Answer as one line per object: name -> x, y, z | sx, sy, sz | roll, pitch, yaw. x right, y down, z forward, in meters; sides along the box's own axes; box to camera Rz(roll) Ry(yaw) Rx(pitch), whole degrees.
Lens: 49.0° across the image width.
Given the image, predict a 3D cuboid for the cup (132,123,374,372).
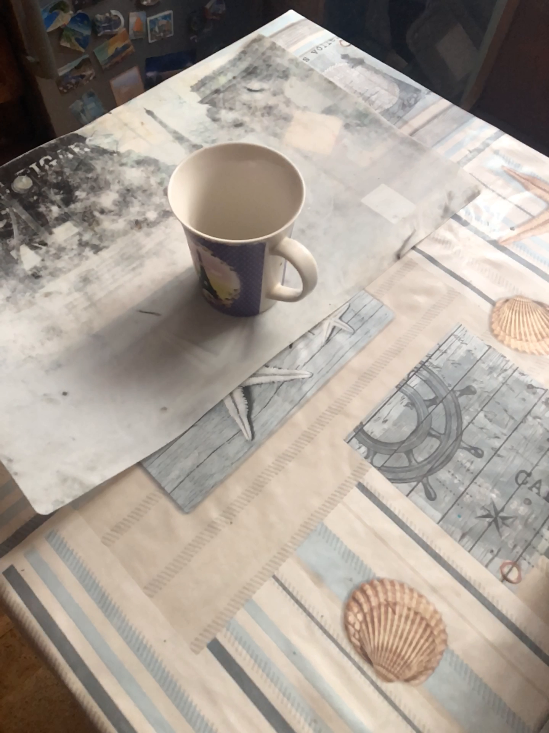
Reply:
cup -> -0.014, -0.081, 0.410 | 0.120, 0.085, 0.090 | 35, 64, 17
